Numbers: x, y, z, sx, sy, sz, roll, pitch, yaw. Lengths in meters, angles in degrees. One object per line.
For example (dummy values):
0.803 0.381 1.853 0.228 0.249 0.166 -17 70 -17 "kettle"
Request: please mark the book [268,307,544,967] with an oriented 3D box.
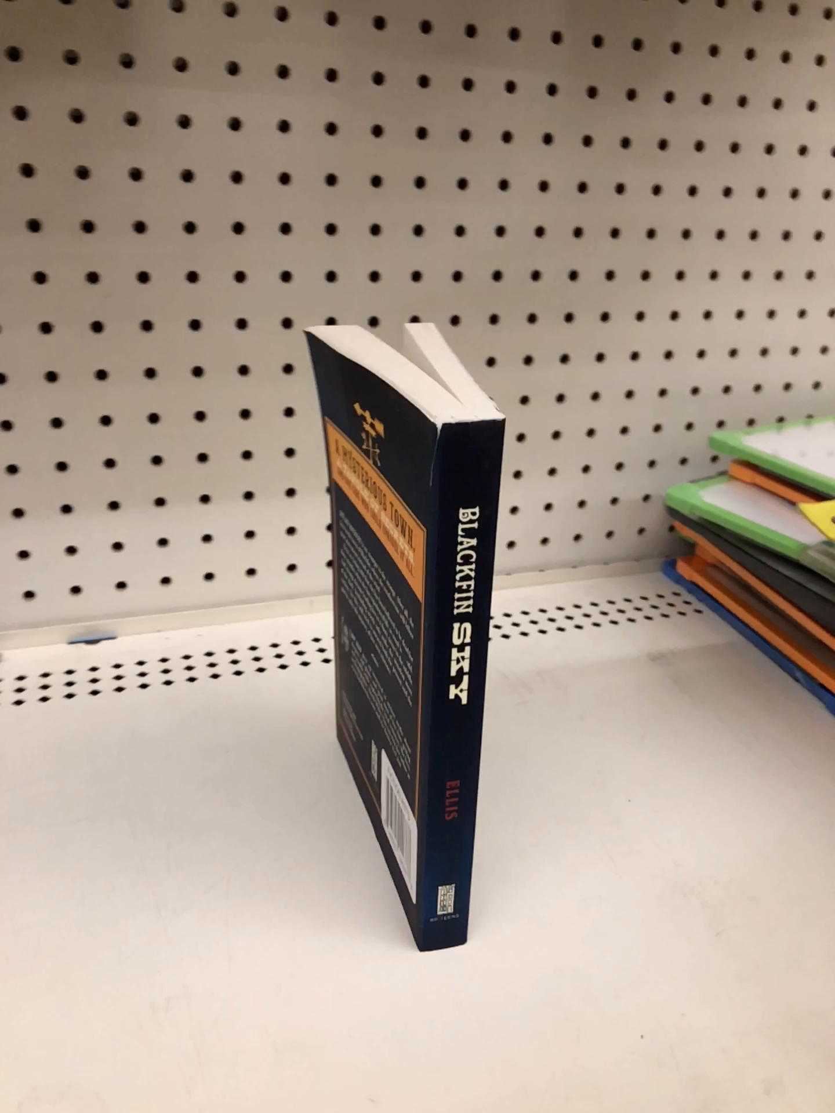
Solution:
-0.013 0.022 0.364 0.059 0.205 0.151 -7 26 -14 "book"
